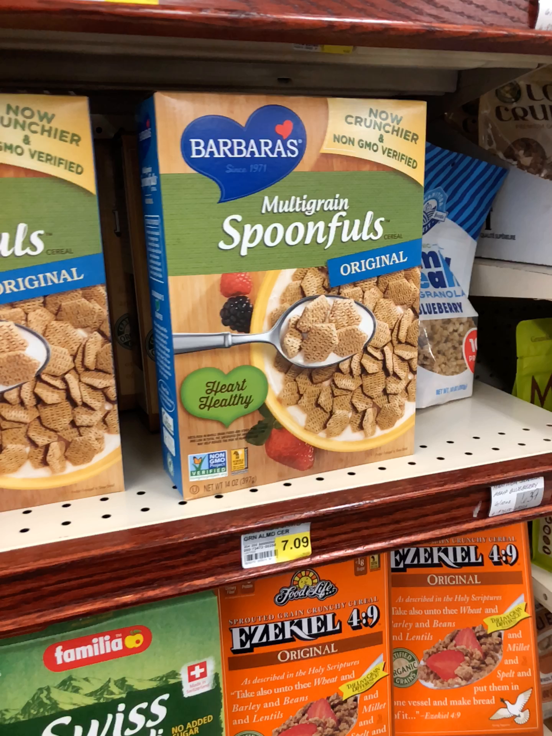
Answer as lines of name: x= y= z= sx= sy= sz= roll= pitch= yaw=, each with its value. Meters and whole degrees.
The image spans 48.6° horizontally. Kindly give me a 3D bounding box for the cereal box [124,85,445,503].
cereal box: x=0.012 y=-0.053 z=0.426 sx=0.200 sy=0.249 sz=0.060 roll=-8 pitch=16 yaw=-21
